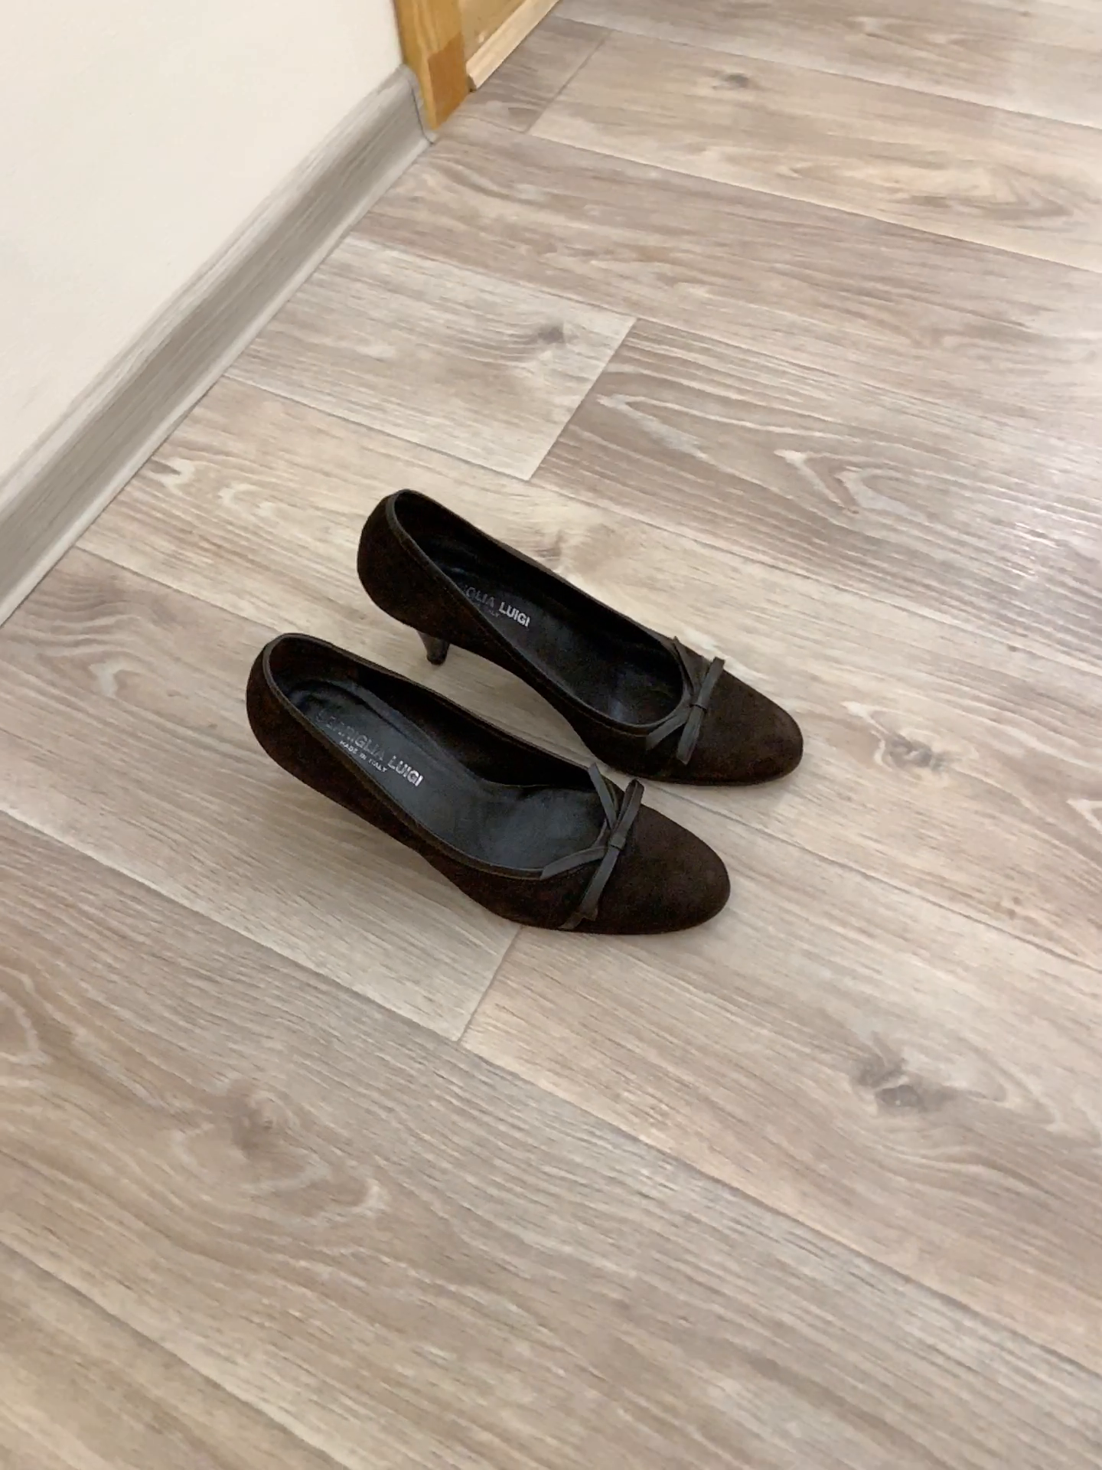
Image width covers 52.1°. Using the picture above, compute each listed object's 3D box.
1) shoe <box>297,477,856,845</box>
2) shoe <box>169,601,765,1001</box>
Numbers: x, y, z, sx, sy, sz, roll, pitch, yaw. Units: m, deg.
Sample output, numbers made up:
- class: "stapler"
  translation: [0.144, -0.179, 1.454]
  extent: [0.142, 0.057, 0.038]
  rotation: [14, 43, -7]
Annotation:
- class: "shoe"
  translation: [0.013, -0.040, 0.594]
  extent: [0.260, 0.110, 0.080]
  rotation: [17, 62, 14]
- class: "shoe"
  translation: [-0.038, 0.032, 0.555]
  extent: [0.260, 0.110, 0.080]
  rotation: [17, 62, 14]
